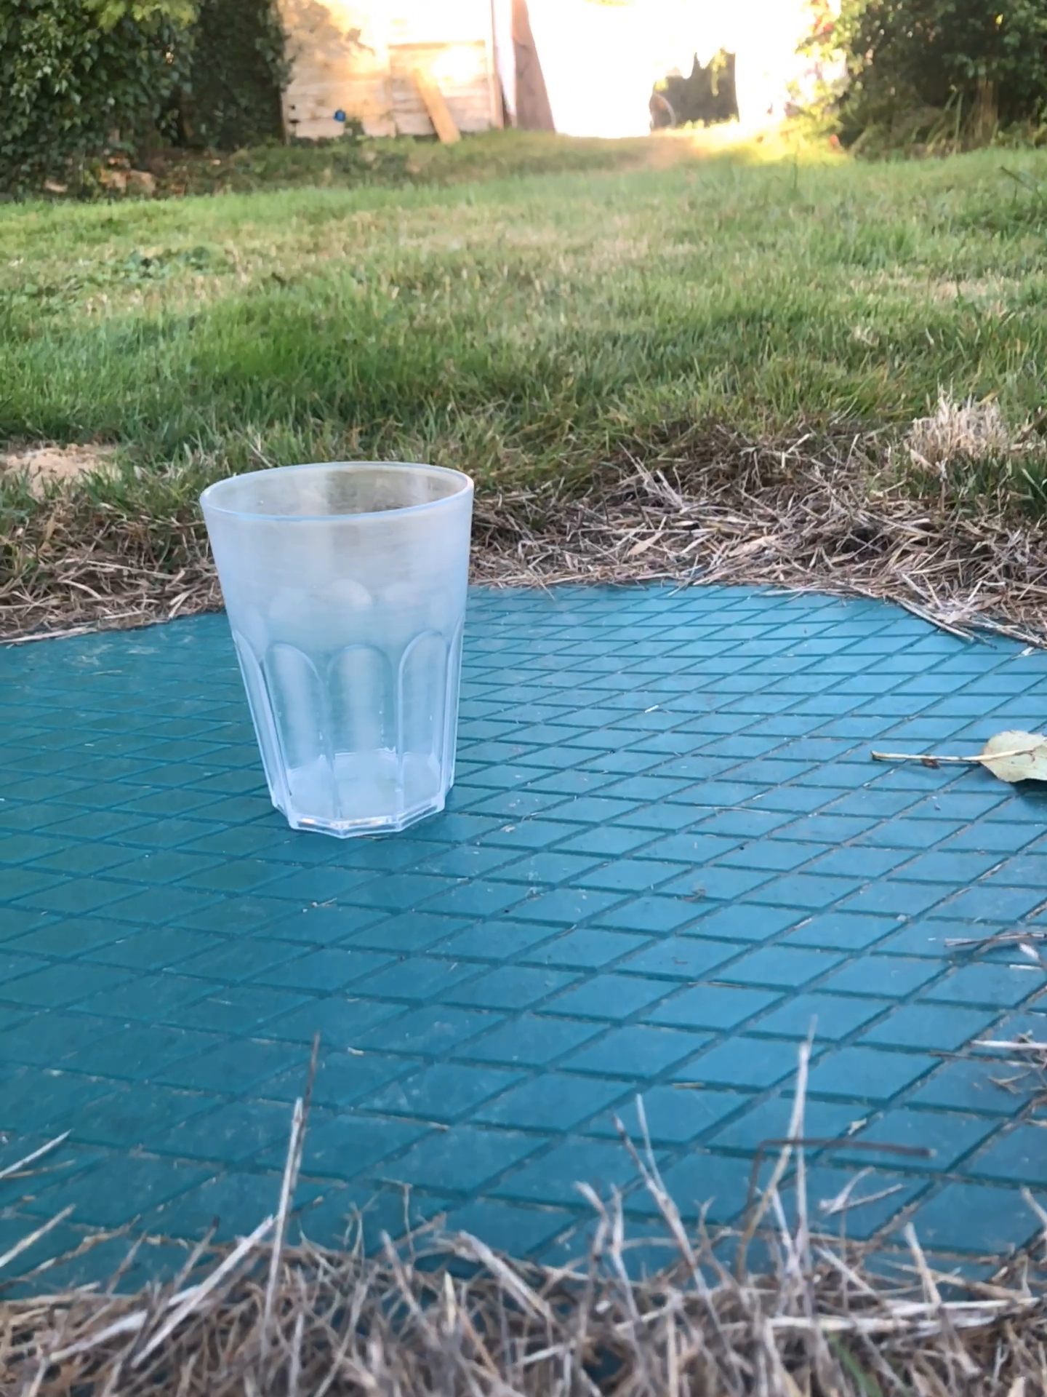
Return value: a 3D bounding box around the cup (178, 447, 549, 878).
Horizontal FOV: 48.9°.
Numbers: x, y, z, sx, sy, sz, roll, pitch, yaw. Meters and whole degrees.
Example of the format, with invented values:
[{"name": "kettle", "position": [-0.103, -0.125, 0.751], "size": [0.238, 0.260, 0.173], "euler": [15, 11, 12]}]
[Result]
[{"name": "cup", "position": [-0.054, -0.020, 0.397], "size": [0.088, 0.113, 0.091], "euler": [-2, 20, 1]}]
